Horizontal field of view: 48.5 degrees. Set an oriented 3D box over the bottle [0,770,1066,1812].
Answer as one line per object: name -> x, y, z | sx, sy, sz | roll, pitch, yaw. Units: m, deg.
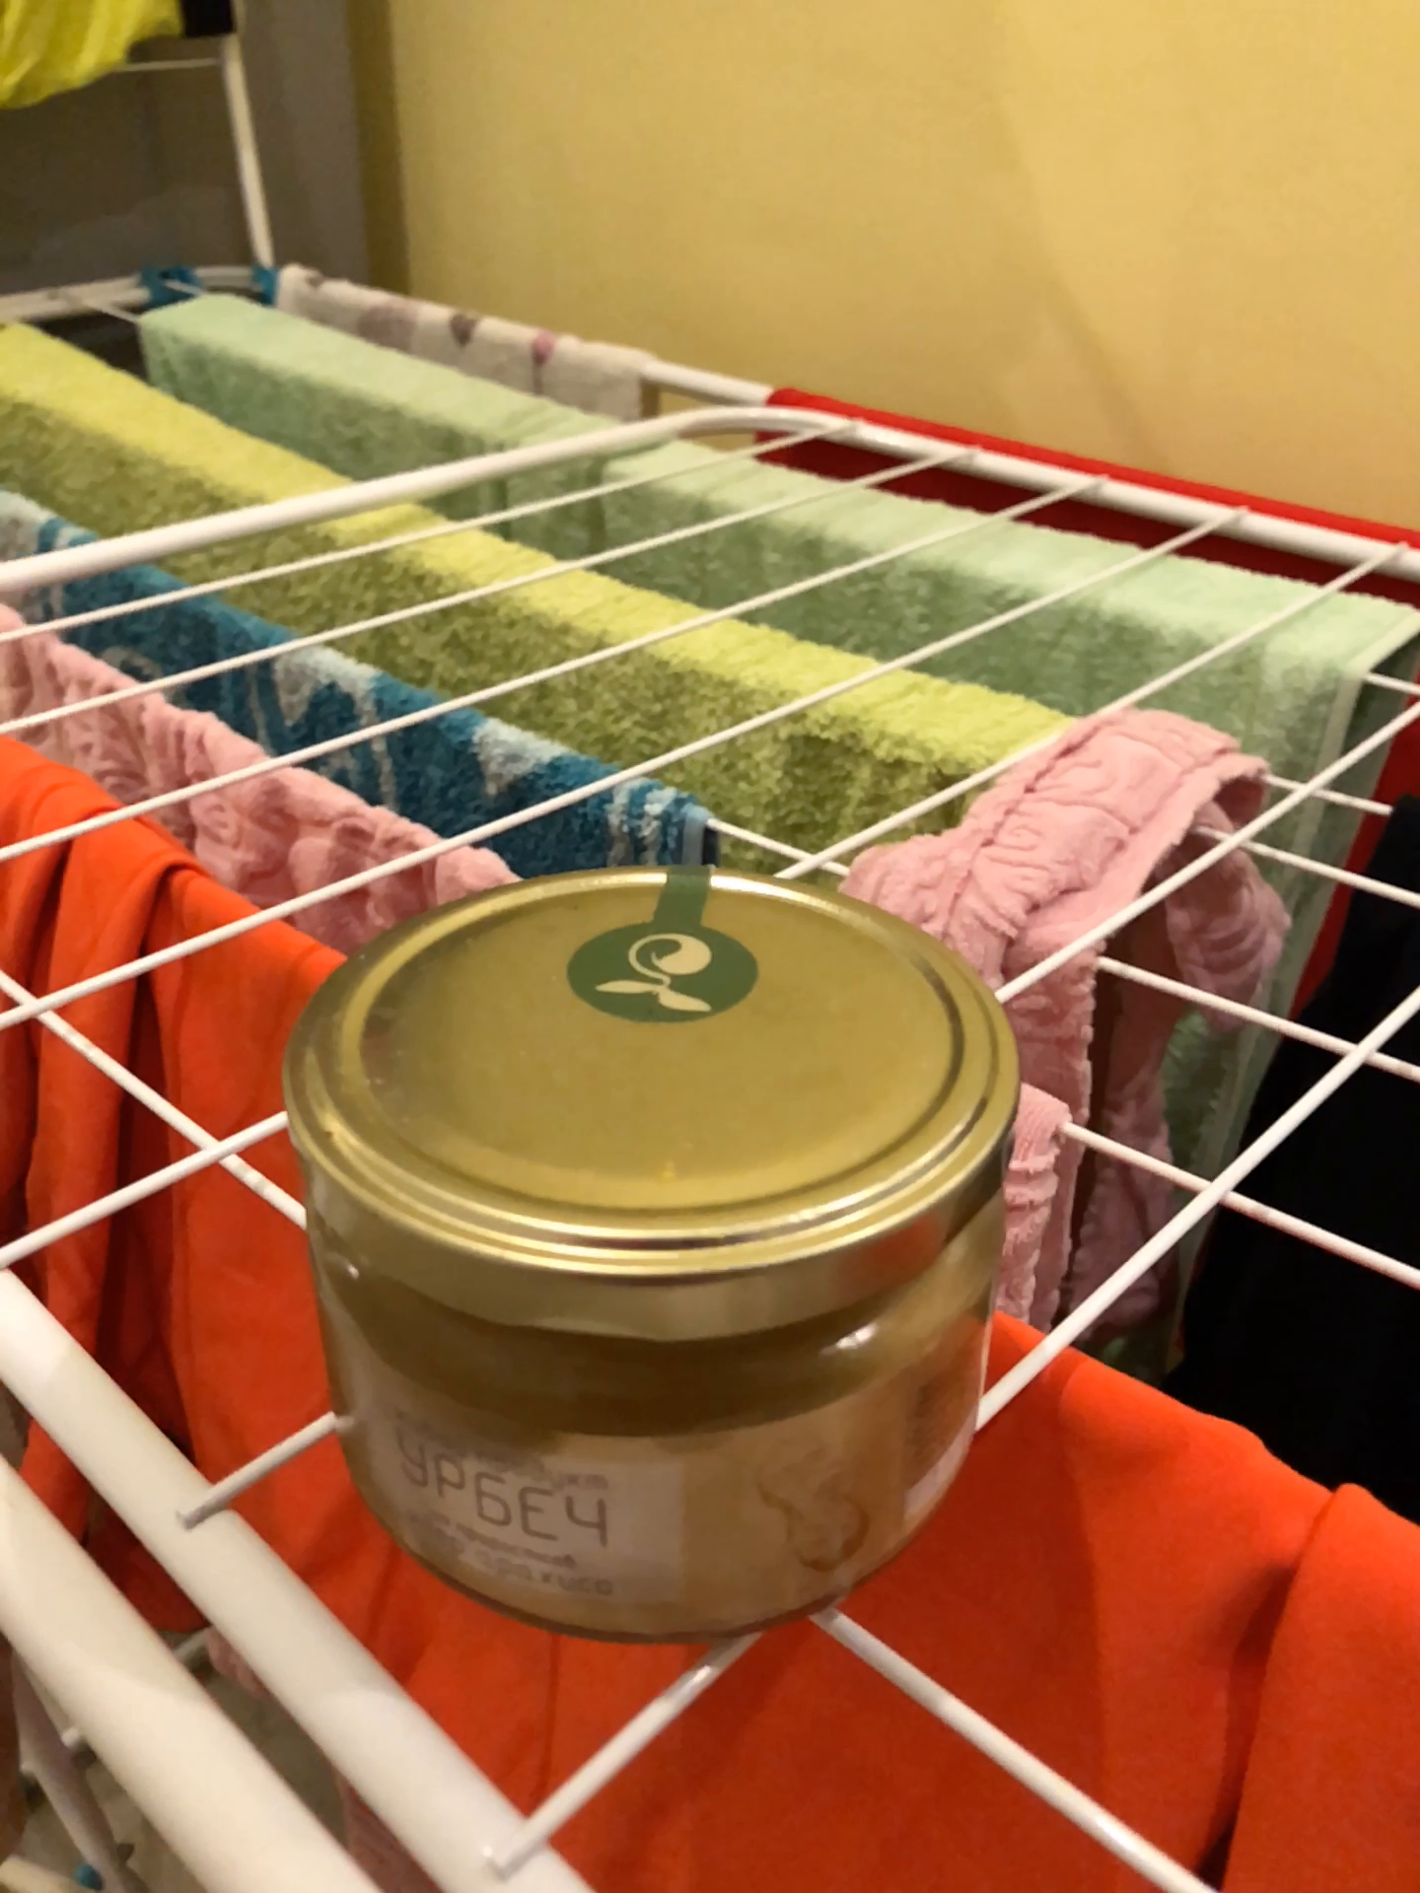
bottle -> -0.012, 0.031, 0.190 | 0.090, 0.060, 0.091 | 1, 31, 0
